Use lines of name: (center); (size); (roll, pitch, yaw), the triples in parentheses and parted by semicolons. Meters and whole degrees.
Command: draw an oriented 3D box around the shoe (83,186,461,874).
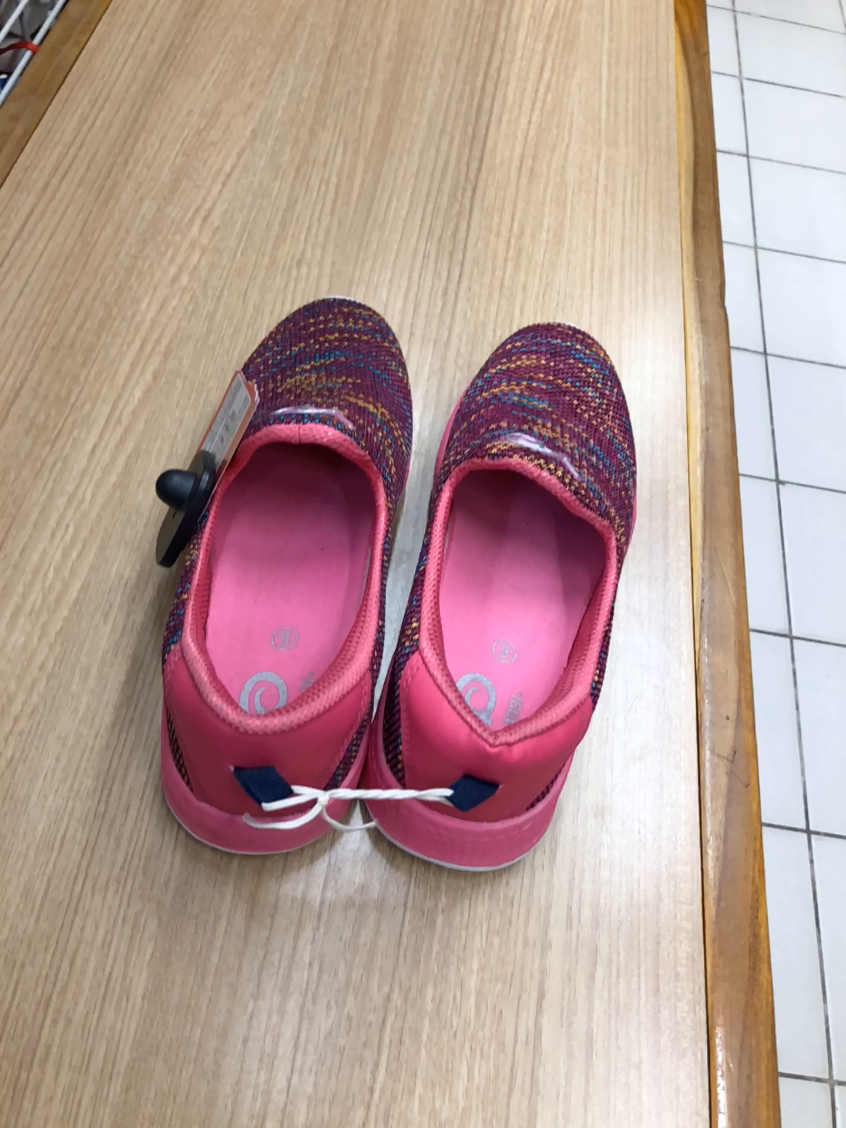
shoe: (-0.044, -0.022, 0.371); (0.090, 0.100, 0.251); (7, 58, -3)

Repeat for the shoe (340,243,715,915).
shoe: (0.050, -0.004, 0.404); (0.100, 0.100, 0.261); (15, 58, 2)
